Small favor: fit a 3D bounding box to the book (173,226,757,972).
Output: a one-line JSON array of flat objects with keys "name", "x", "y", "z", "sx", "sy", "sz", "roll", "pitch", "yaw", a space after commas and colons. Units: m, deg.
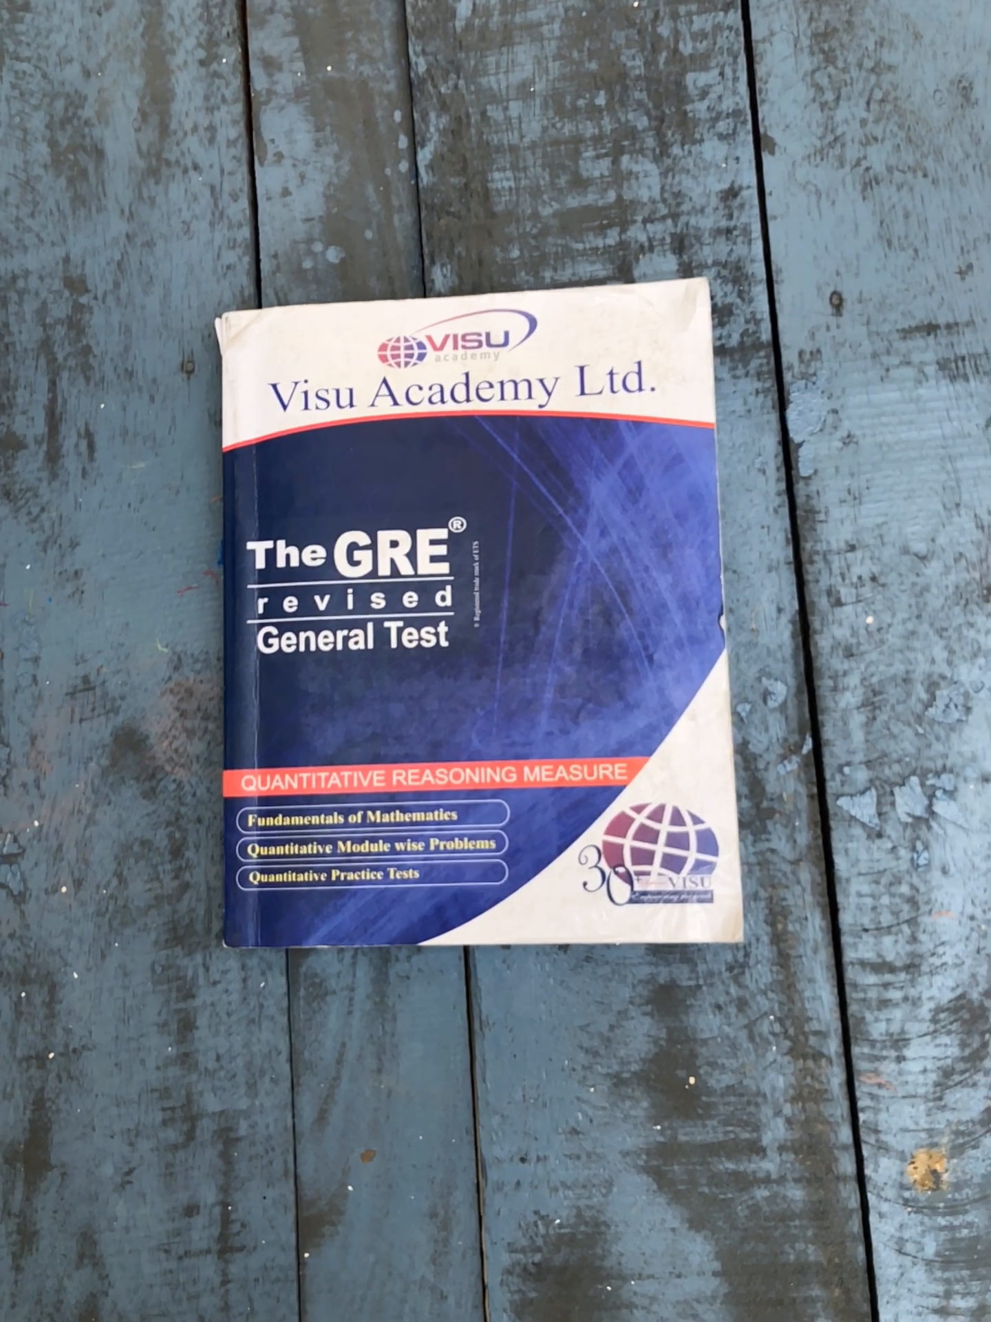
[{"name": "book", "x": -0.014, "y": -0.023, "z": 0.463, "sx": 0.220, "sy": 0.060, "sz": 0.290, "roll": -2, "pitch": 81, "yaw": 6}]
